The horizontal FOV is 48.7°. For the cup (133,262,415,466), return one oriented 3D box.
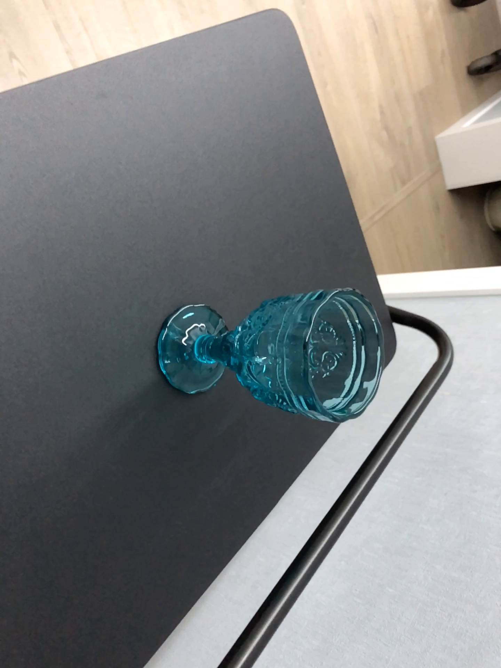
[{"bbox_3d":[0.013,0.016,0.400,0.085,0.164,0.095,-40,117,-37],"label":"cup"}]
